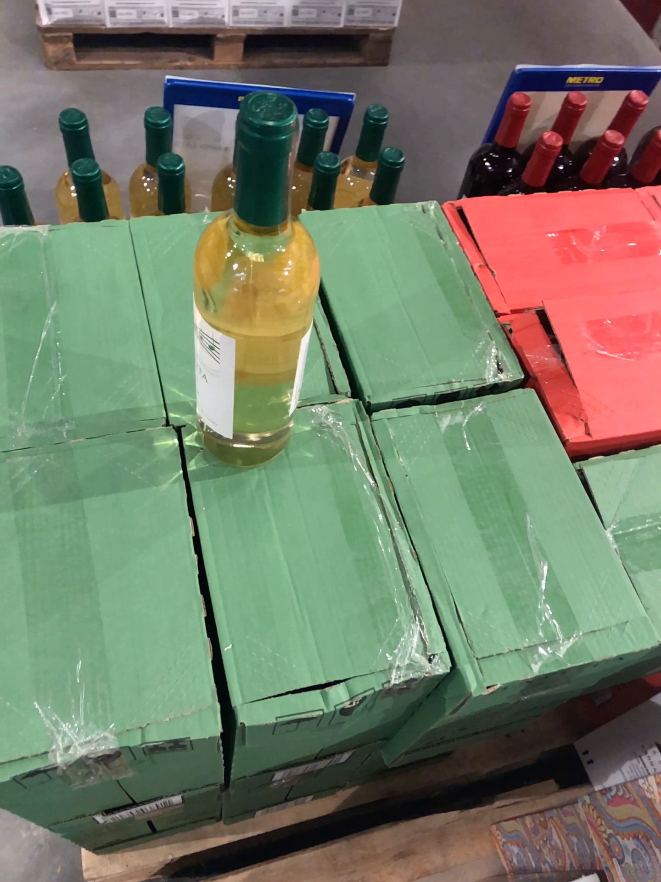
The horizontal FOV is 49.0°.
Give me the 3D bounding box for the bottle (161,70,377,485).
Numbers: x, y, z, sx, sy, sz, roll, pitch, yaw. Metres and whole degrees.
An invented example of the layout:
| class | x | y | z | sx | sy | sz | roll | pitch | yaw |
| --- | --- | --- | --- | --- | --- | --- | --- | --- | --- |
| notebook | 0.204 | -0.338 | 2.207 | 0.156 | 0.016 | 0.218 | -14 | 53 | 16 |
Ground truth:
| class | x | y | z | sx | sy | sz | roll | pitch | yaw |
| --- | --- | --- | --- | --- | --- | --- | --- | --- | --- |
| bottle | -0.047 | -0.078 | 0.448 | 0.084 | 0.262 | 0.080 | 4 | 57 | -6 |
